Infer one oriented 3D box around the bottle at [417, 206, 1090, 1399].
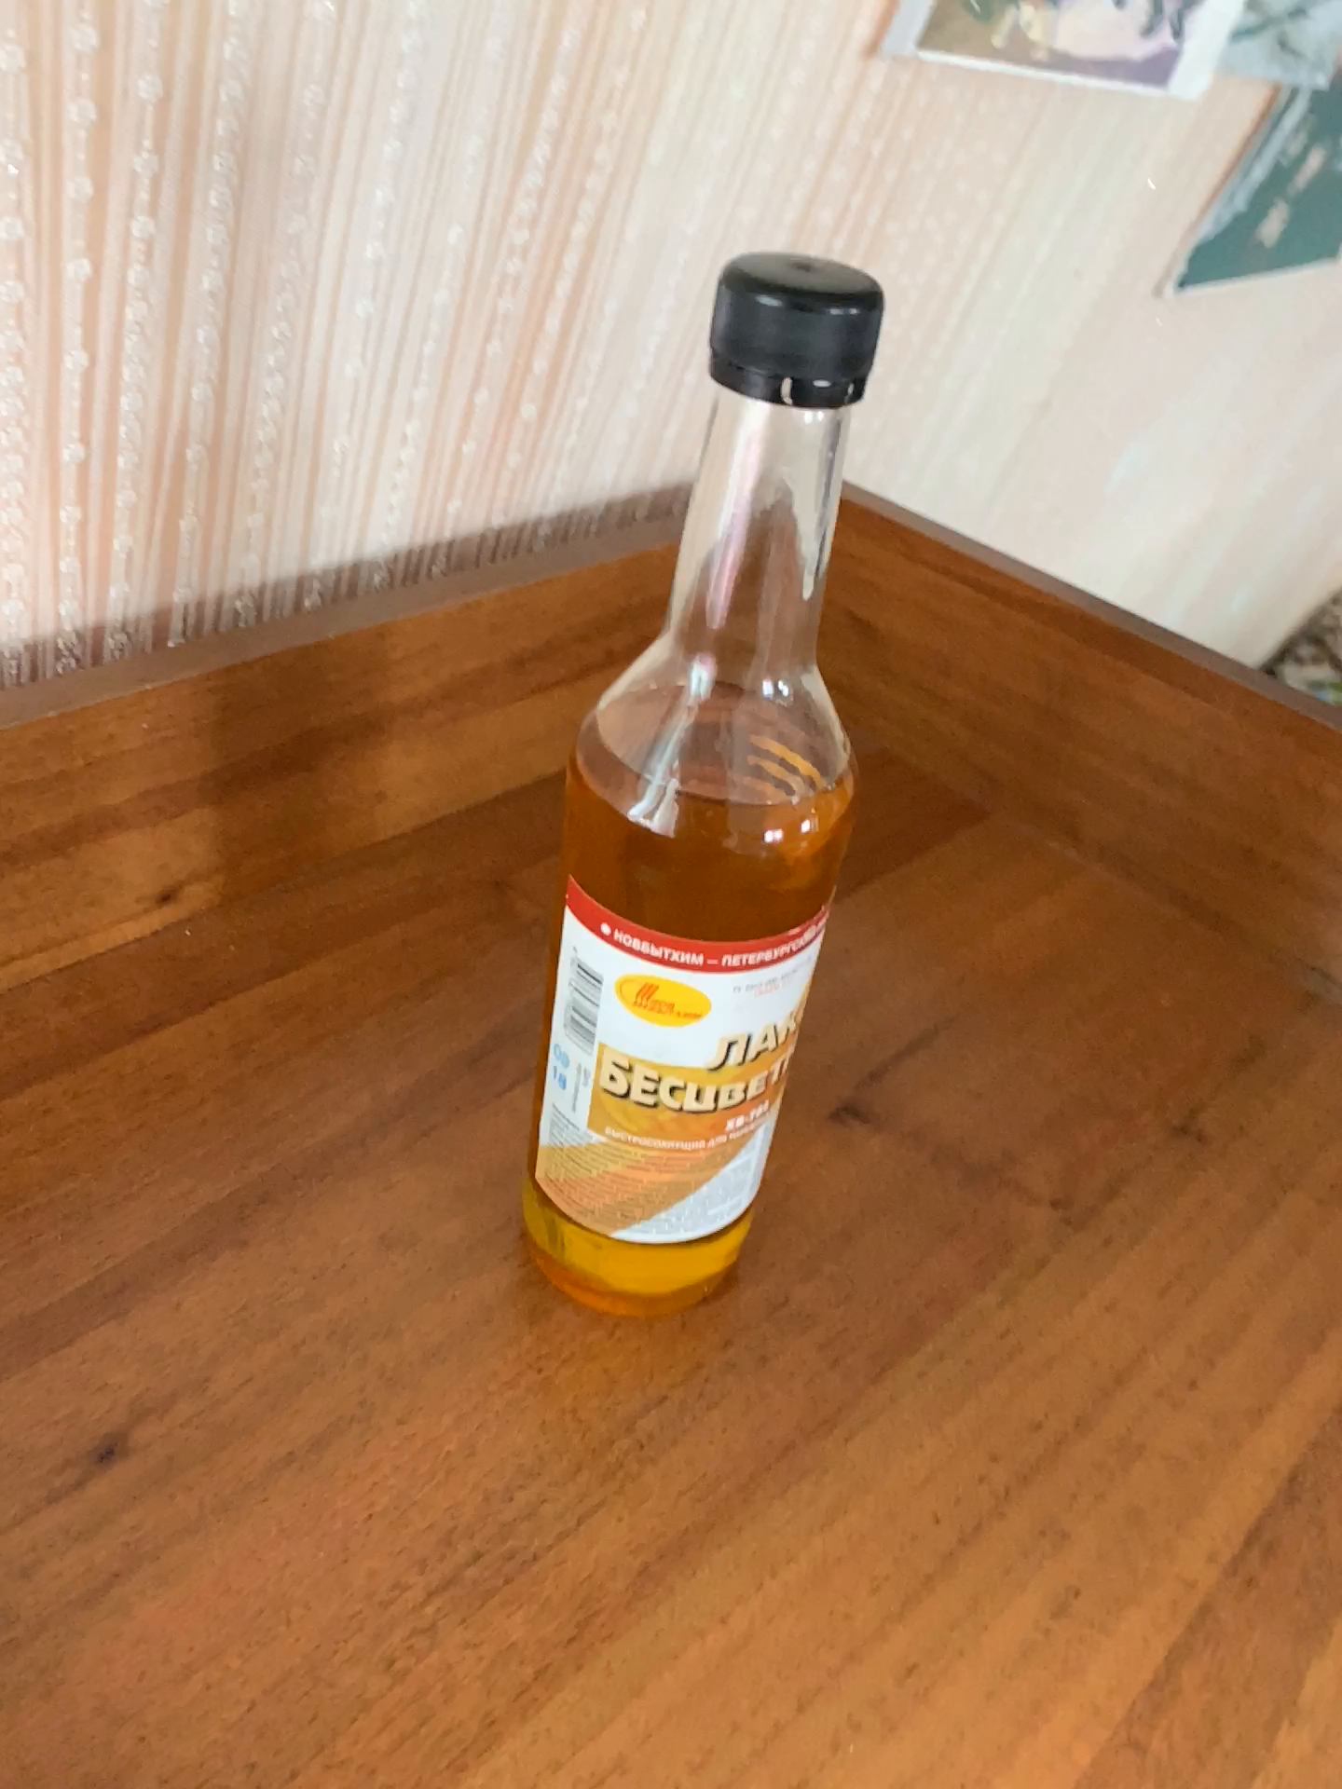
[{"bbox_3d":[0.002,-0.008,0.315,0.080,0.258,0.070,-21,46,-37],"label":"bottle"}]
